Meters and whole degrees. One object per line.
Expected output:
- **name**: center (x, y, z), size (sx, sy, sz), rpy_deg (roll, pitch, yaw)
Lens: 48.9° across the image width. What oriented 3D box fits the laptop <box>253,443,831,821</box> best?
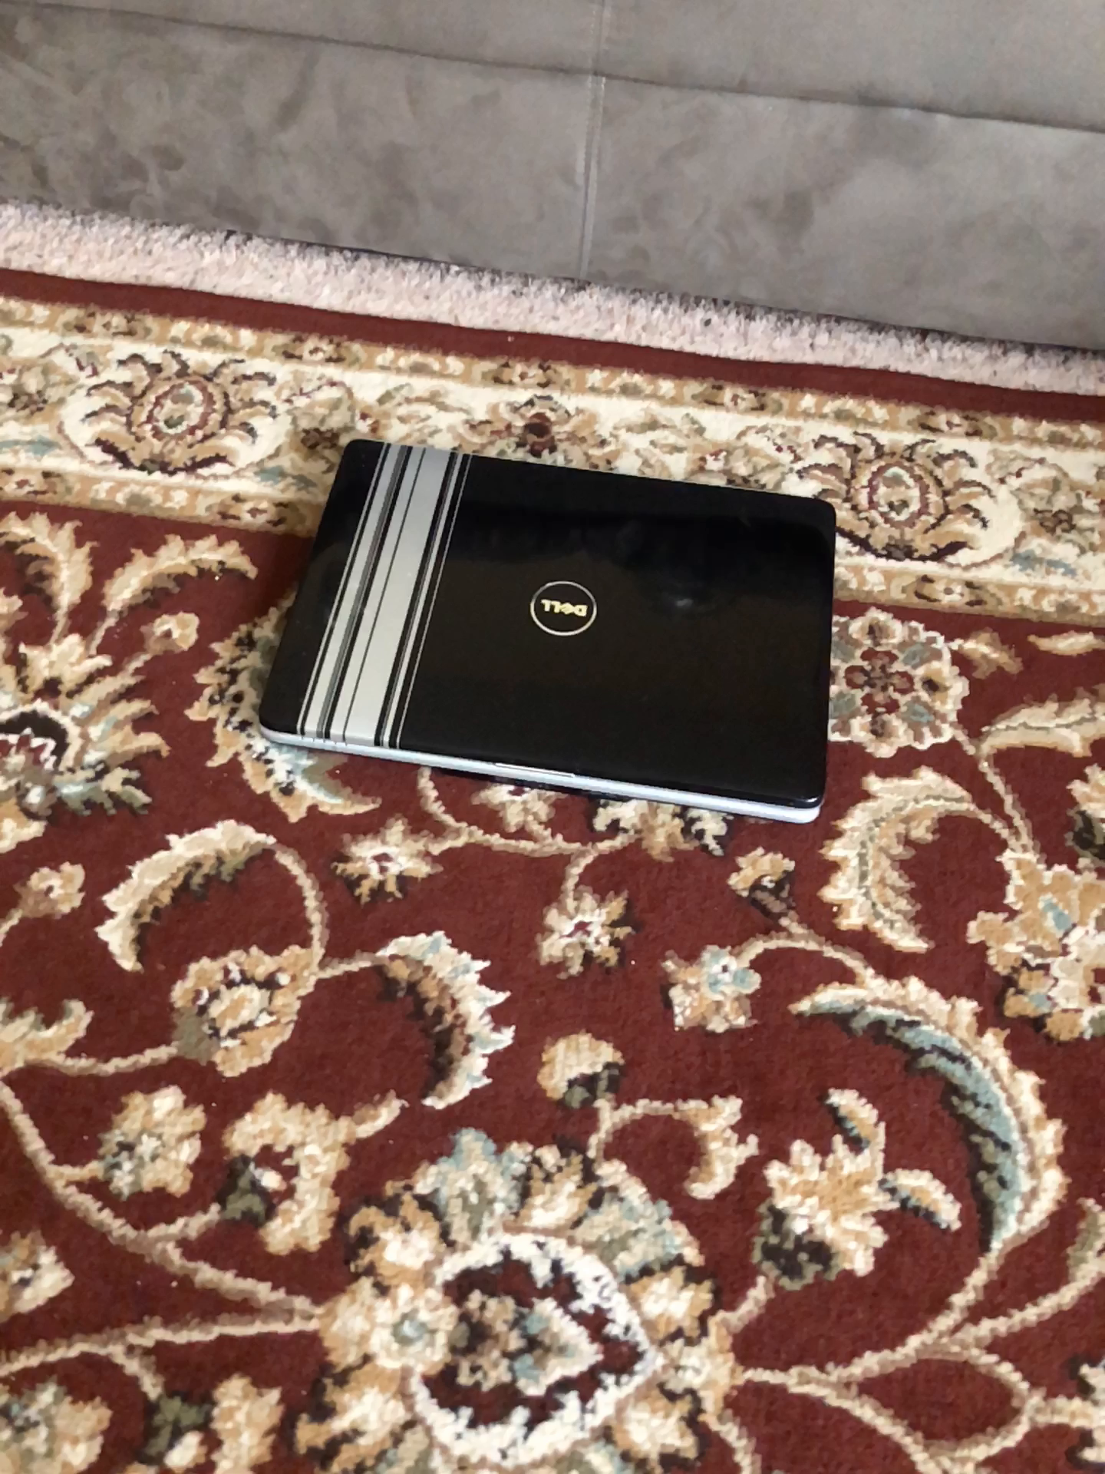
- **laptop**: center (0.005, -0.080, 0.814), size (0.351, 0.015, 0.242), rpy_deg (8, 59, 3)
